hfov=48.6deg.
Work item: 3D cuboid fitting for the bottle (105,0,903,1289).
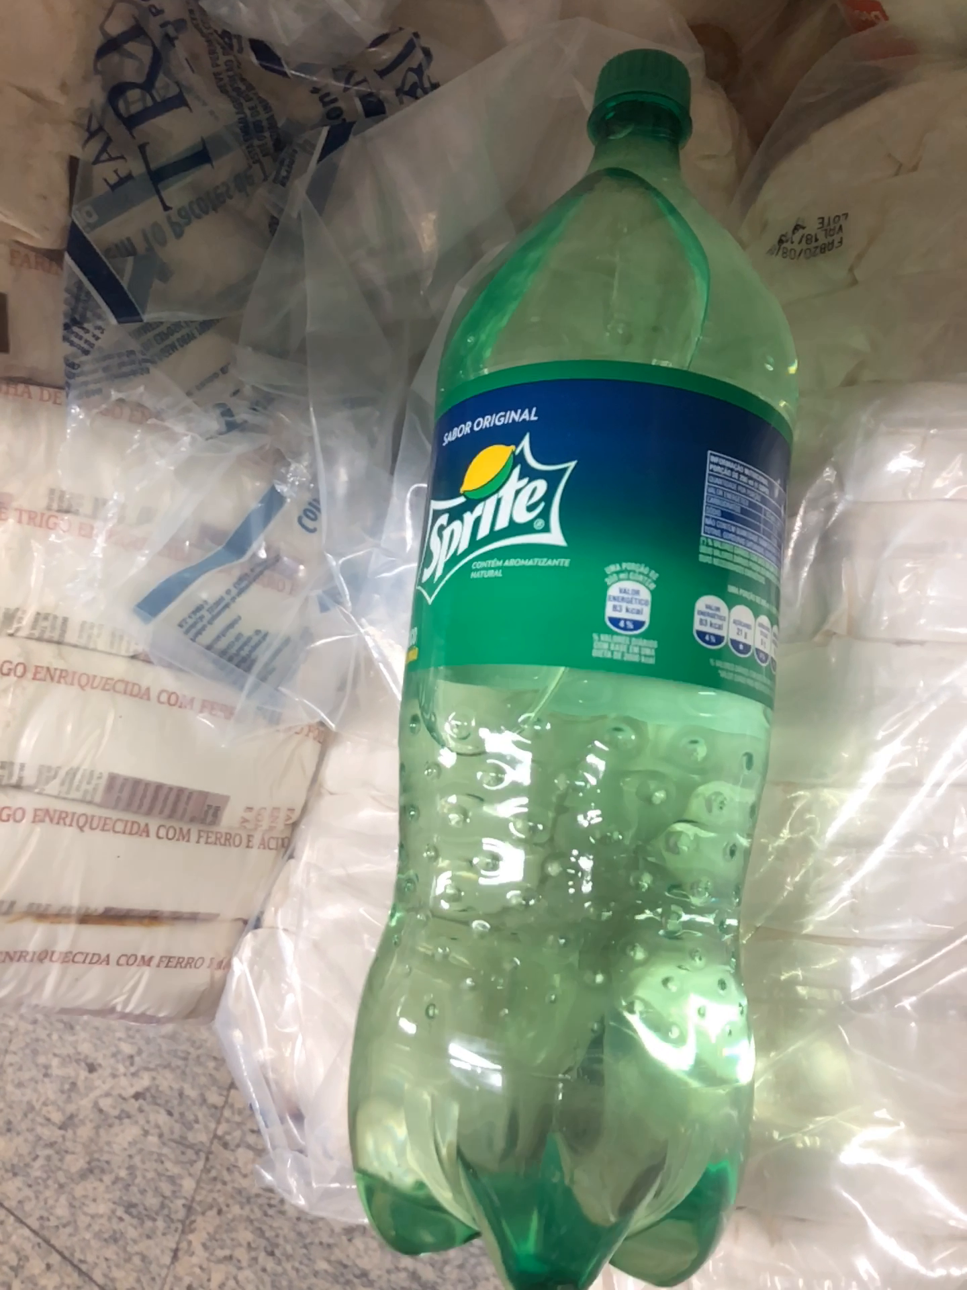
[{"bbox_3d":[0.030,-0.042,0.298,0.110,0.109,0.381,-3,67,38],"label":"bottle"}]
